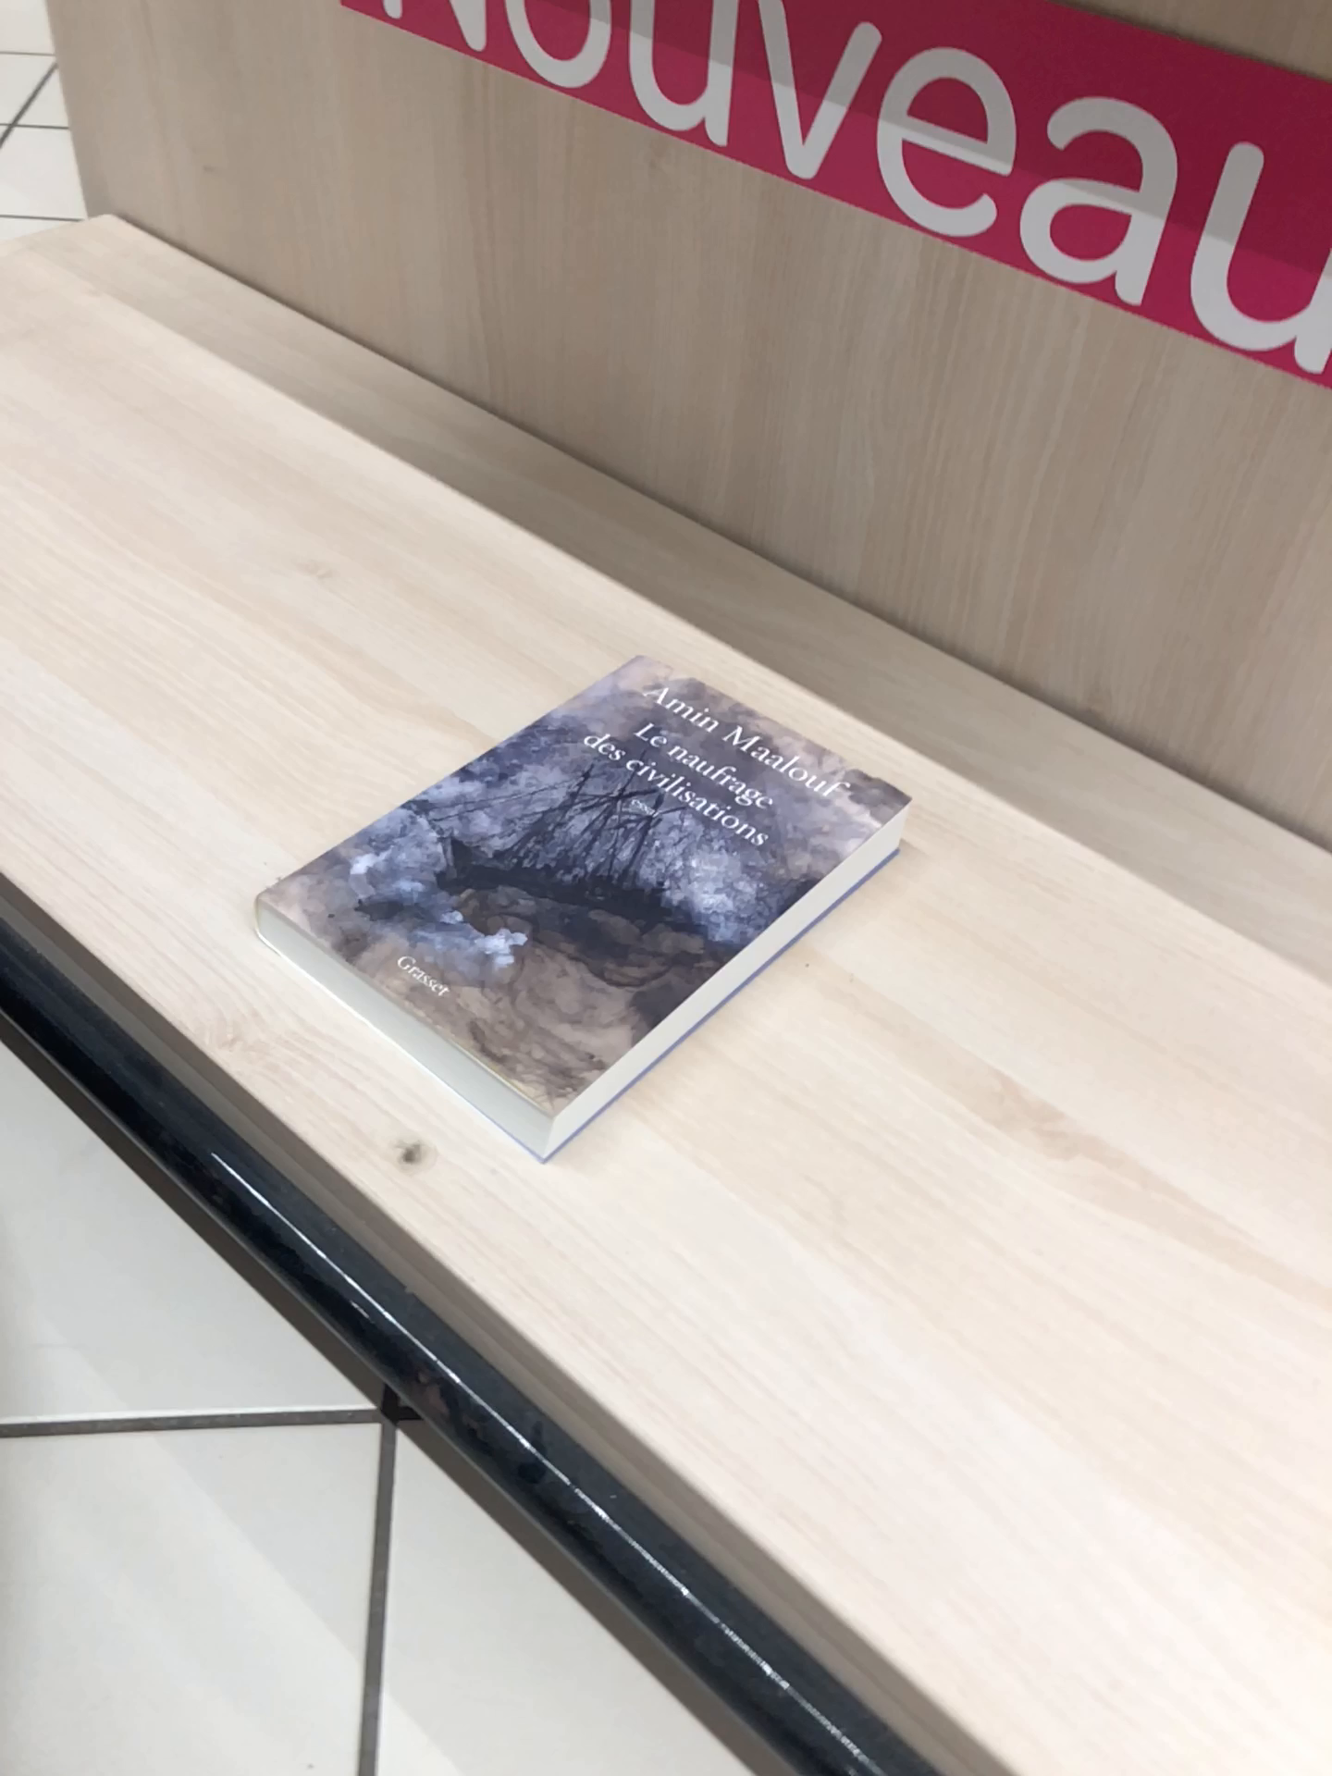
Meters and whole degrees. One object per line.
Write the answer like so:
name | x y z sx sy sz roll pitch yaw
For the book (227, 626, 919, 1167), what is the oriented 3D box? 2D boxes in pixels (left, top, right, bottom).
book | -0.028 -0.012 0.542 0.147 0.026 0.212 33 51 25
